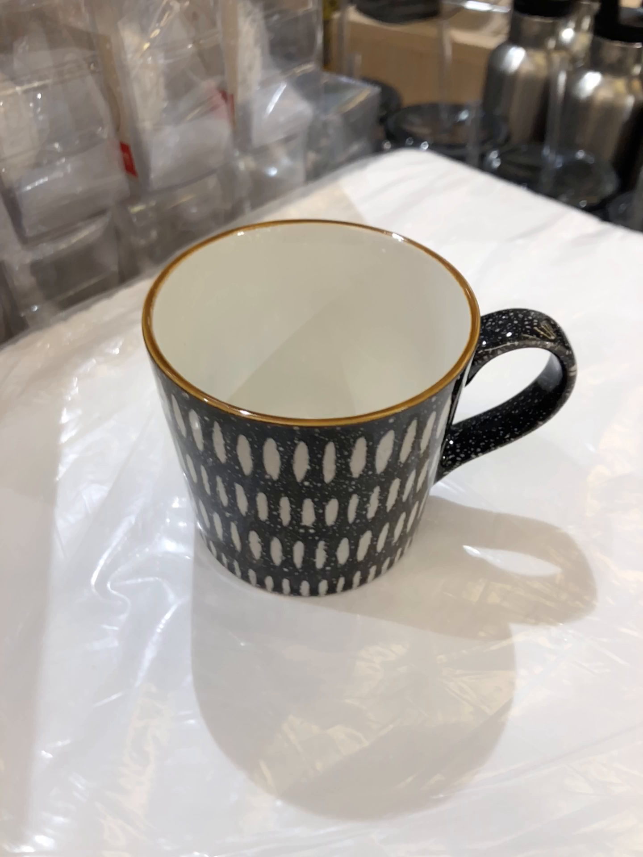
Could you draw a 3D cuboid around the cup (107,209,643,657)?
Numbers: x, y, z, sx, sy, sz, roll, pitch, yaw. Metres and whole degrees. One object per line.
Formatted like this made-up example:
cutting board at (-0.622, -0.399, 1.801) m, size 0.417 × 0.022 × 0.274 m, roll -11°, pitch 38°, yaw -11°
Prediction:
cup at (0.009, -0.001, 0.197) m, size 0.110 × 0.079 × 0.081 m, roll -5°, pitch 45°, yaw -6°
